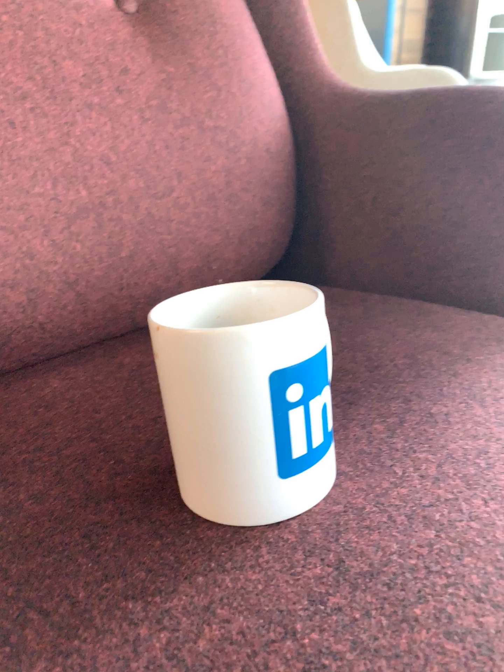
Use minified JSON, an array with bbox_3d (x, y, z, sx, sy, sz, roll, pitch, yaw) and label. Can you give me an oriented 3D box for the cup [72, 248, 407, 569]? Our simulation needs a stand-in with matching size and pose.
[{"bbox_3d":[0.000,0.018,0.250,0.120,0.089,0.090,-25,26,-38],"label":"cup"}]
